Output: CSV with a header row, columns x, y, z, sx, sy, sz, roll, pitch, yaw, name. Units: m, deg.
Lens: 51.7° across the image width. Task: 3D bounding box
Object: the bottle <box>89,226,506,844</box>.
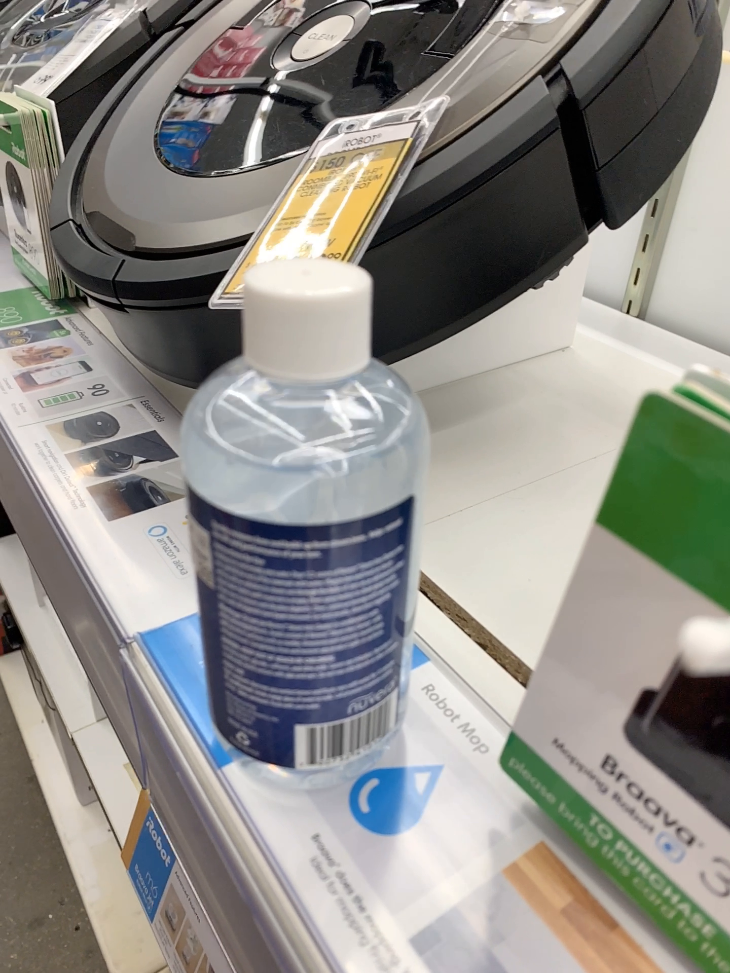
x,y,z,sx,sy,sz,roll,pitch,yaw,name
-0.014,0.013,0.188,0.060,0.129,0.060,2,34,-1,bottle
